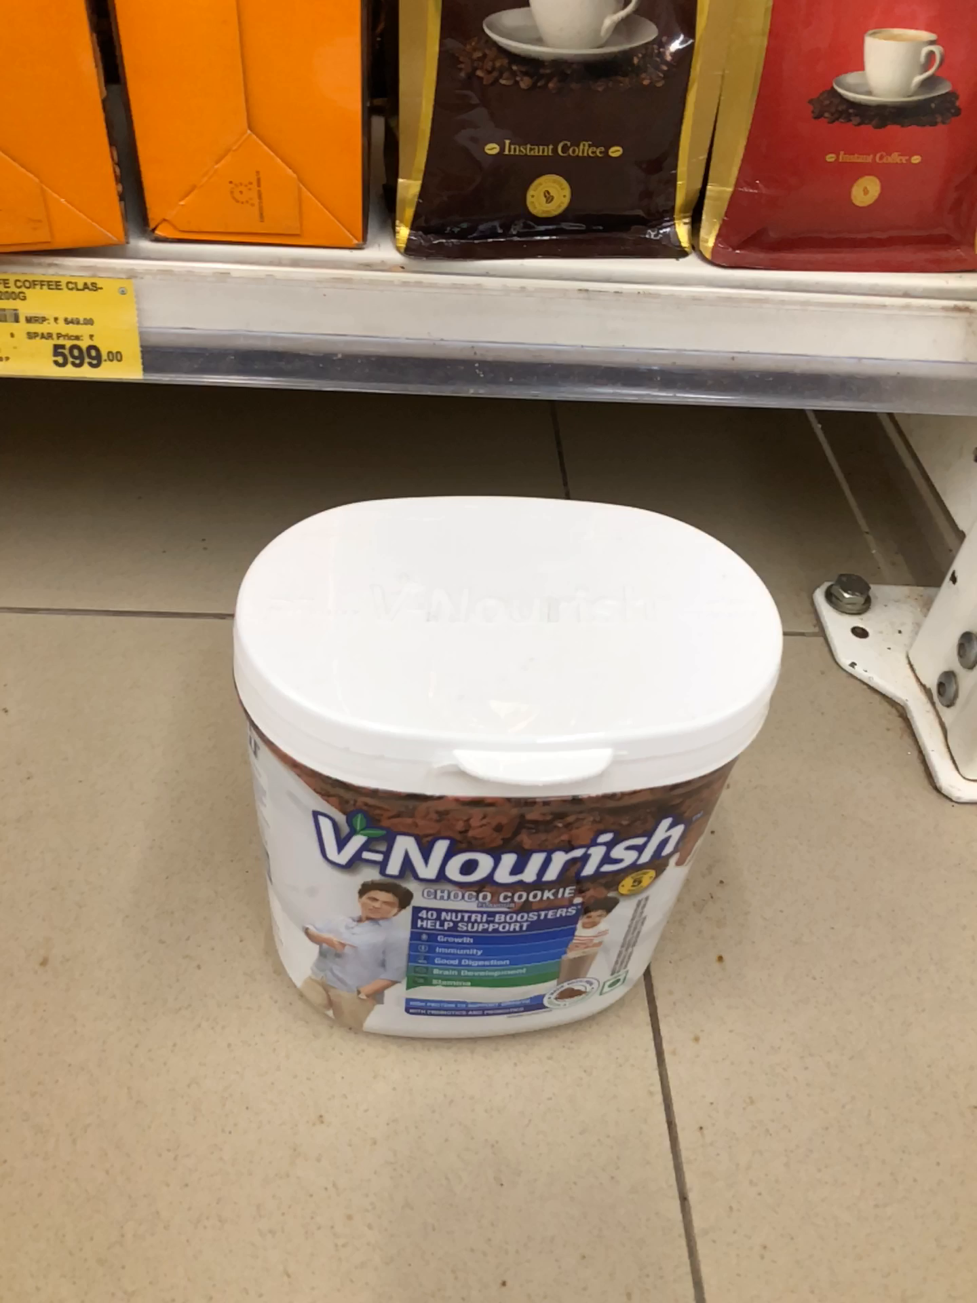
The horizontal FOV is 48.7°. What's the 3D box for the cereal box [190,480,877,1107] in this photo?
[{"bbox_3d":[0.002,0.045,0.305,0.140,0.149,0.101,1,44,-6],"label":"cereal box"}]
